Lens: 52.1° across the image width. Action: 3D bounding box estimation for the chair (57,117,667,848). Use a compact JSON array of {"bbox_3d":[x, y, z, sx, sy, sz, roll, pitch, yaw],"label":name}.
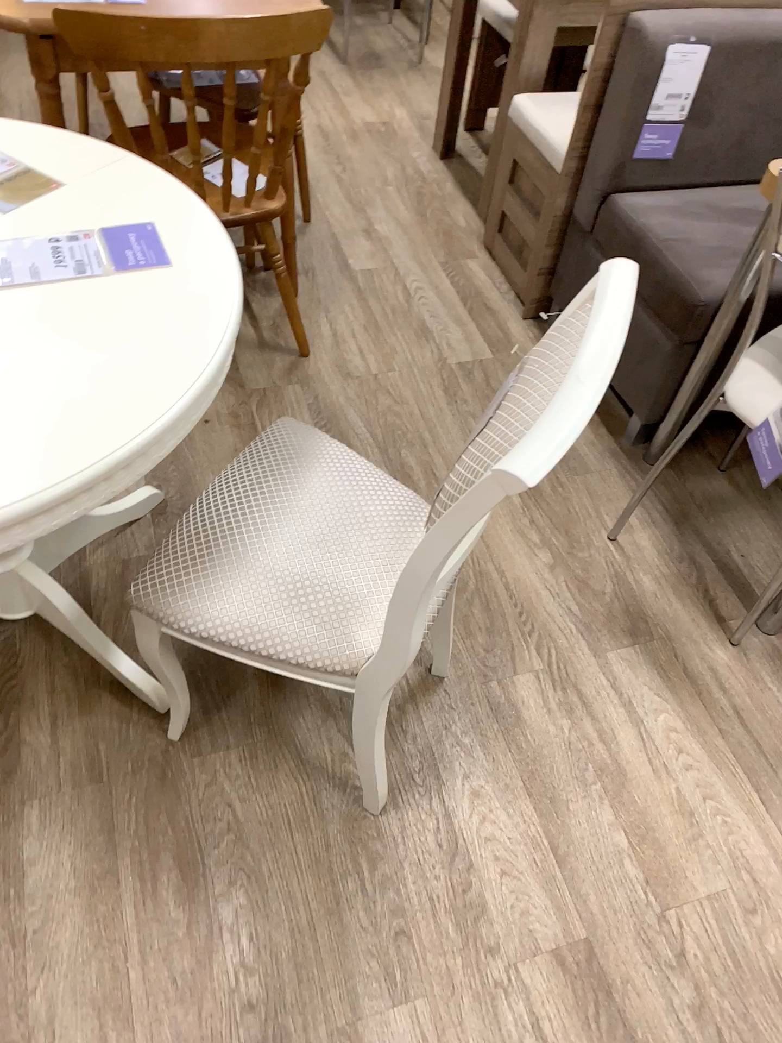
[{"bbox_3d":[-0.037,0.015,1.189,0.510,0.906,0.462,20,50,9],"label":"chair"}]
